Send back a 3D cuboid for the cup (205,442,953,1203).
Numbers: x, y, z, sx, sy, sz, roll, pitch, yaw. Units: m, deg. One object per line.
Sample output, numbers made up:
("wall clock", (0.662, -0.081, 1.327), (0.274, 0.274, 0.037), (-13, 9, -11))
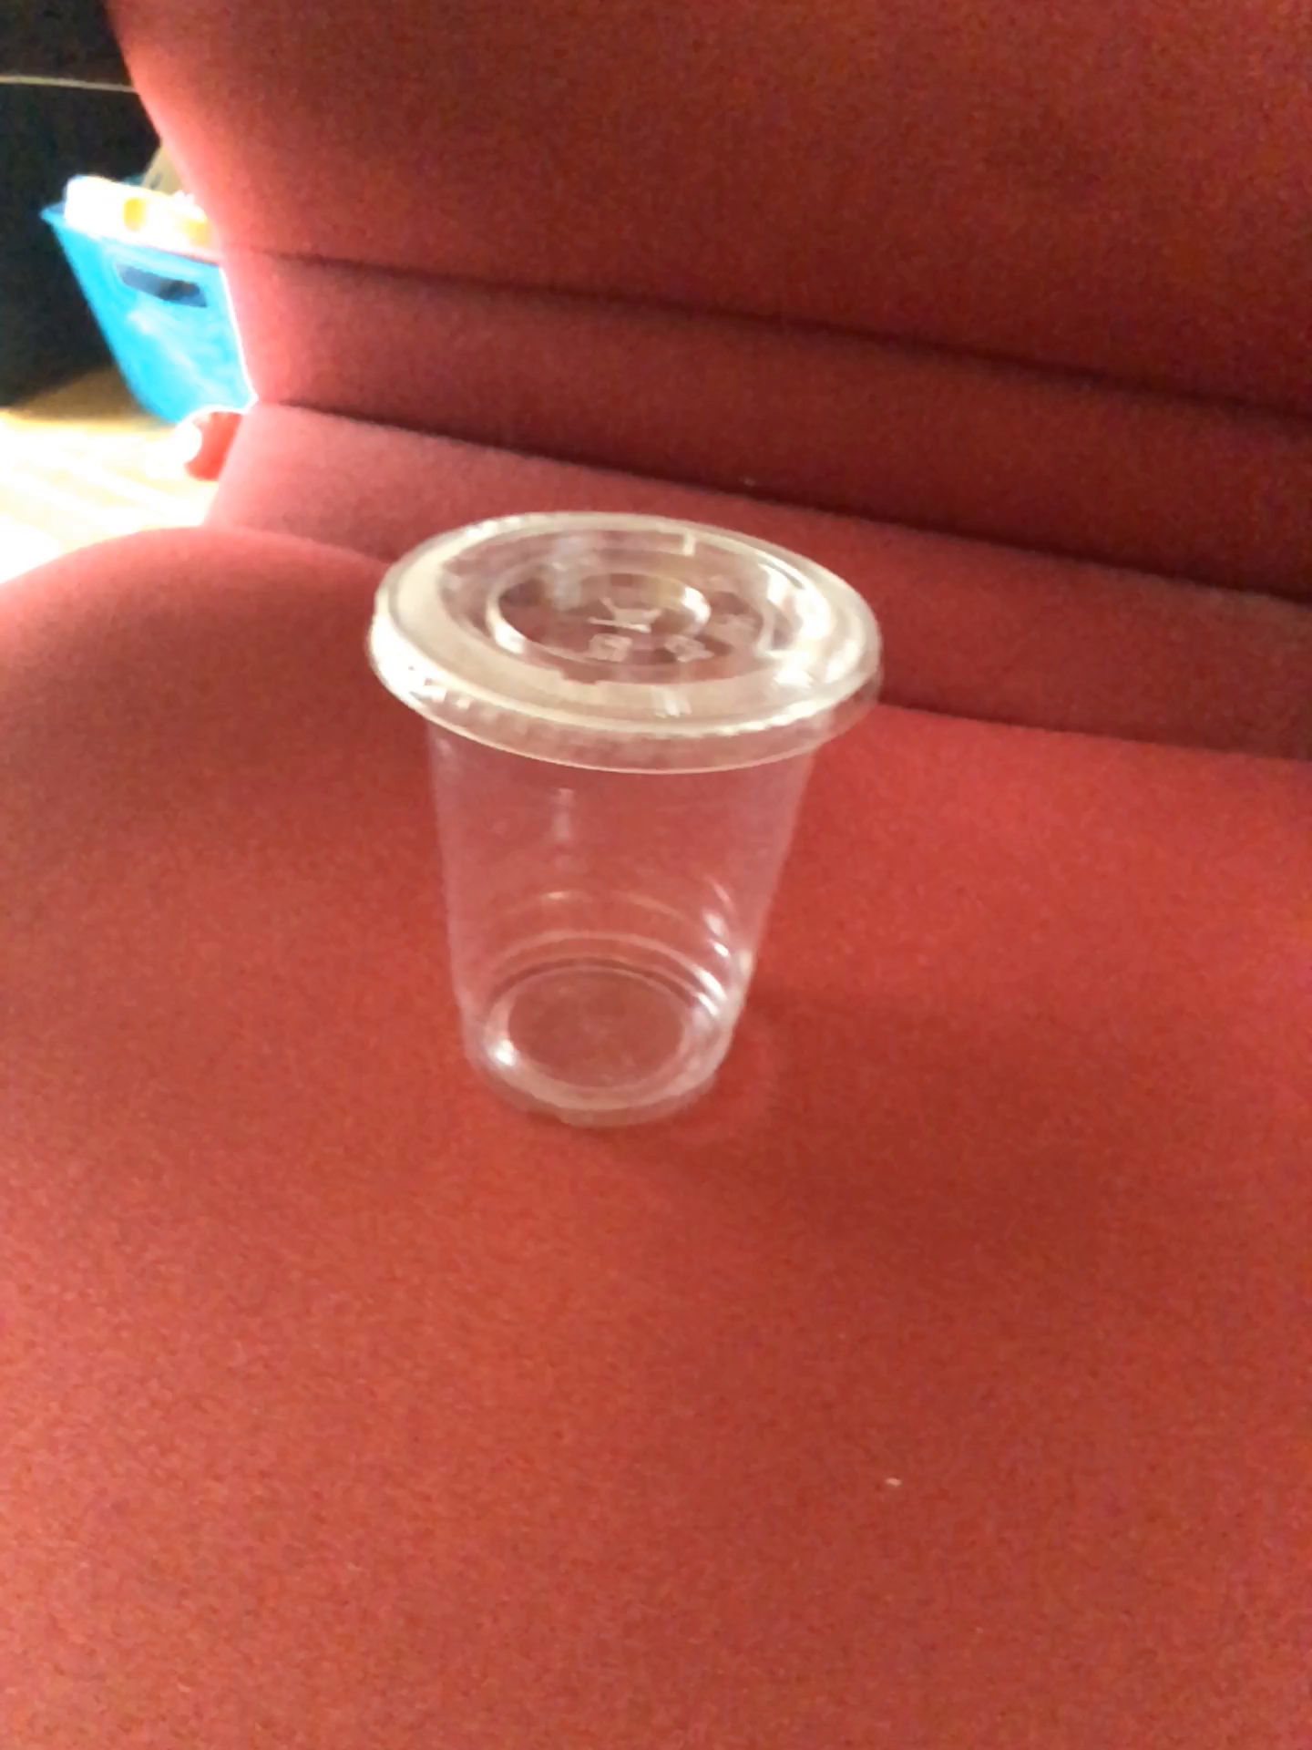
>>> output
("cup", (-0.013, -0.018, 0.292), (0.100, 0.090, 0.100), (4, 34, -3))
